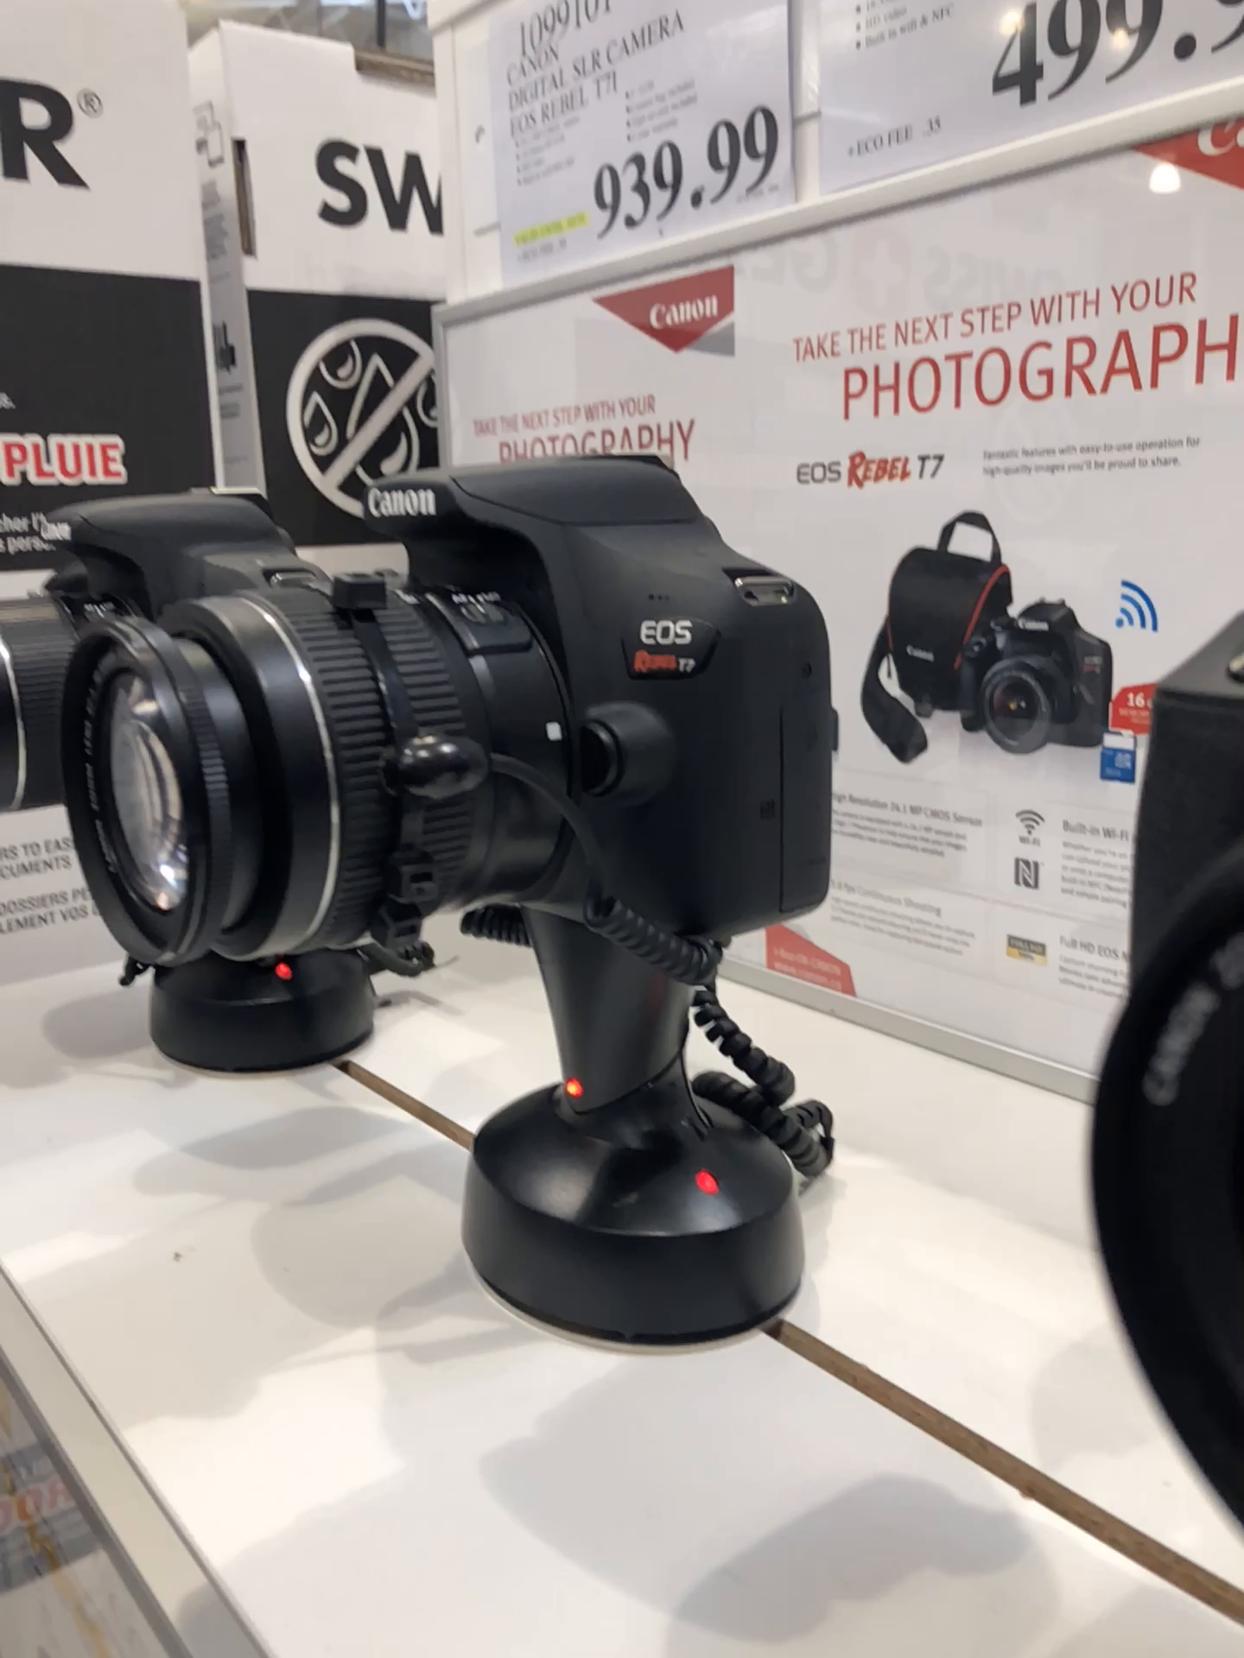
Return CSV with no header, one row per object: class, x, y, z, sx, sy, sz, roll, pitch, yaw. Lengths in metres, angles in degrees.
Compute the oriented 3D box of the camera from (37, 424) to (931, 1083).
camera,-0.031,-0.029,0.298,0.140,0.100,0.130,-10,15,-35
